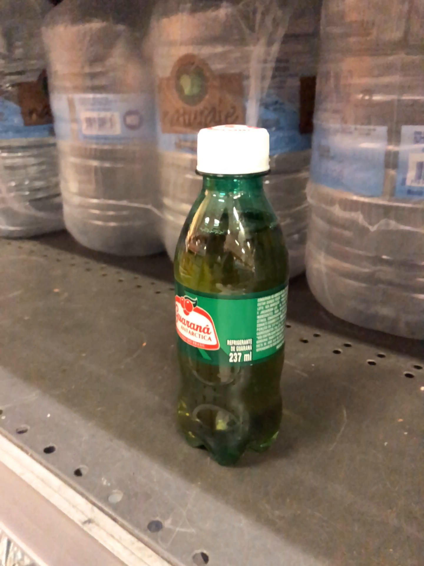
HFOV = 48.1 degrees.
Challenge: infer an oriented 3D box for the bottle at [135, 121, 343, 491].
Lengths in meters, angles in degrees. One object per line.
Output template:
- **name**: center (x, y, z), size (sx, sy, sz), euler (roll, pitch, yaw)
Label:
- **bottle**: center (0.012, 0.006, 0.222), size (0.060, 0.149, 0.060), euler (-1, 22, 0)
